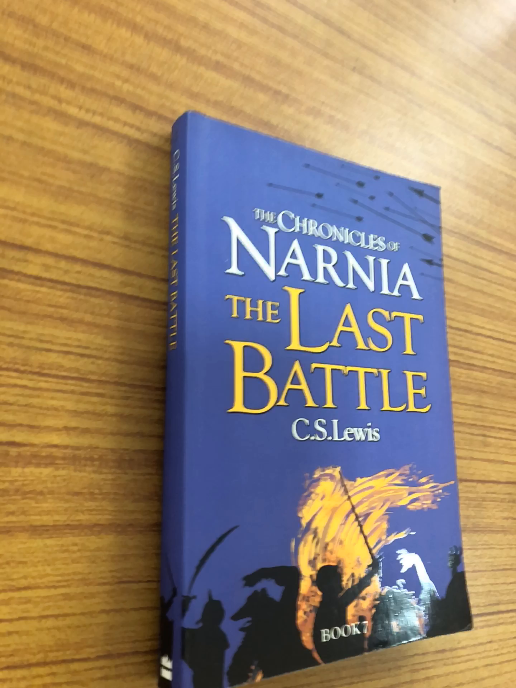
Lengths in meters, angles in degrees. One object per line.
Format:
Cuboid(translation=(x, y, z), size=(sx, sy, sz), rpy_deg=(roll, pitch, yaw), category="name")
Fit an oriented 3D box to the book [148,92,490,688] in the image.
Cuboid(translation=(0.030, 0.018, 0.236), size=(0.140, 0.030, 0.200), rpy_deg=(6, 78, -32), category="book")
